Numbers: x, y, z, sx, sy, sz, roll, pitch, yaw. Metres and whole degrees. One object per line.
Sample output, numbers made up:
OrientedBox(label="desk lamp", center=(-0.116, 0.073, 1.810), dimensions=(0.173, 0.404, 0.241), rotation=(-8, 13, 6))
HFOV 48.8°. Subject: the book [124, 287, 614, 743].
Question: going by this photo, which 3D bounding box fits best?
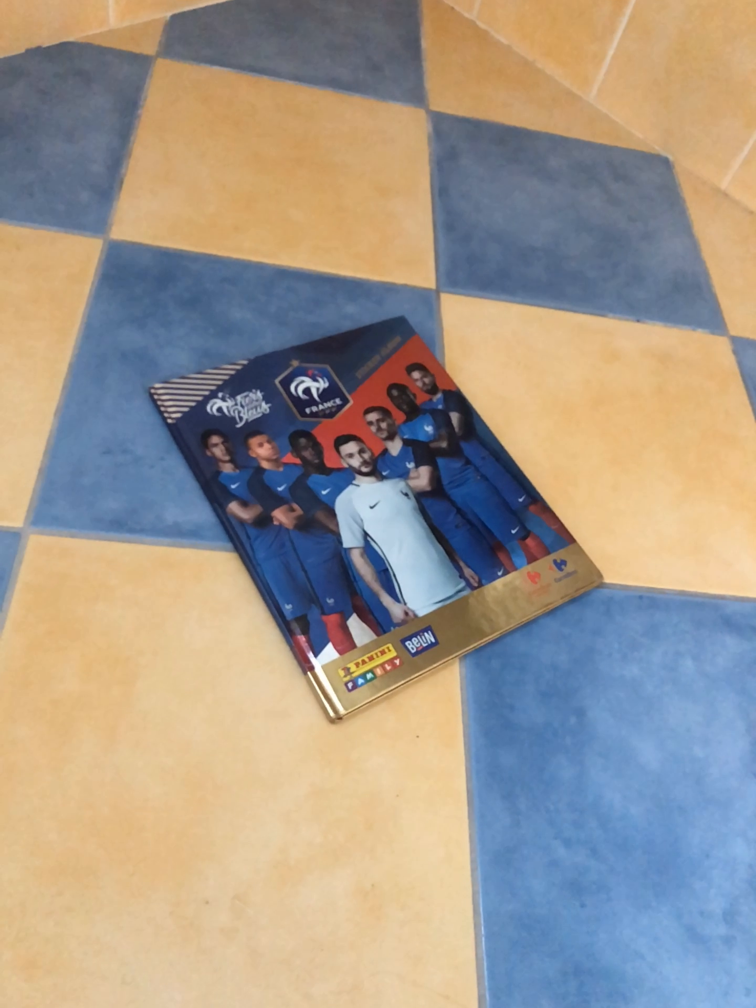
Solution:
OrientedBox(label="book", center=(-0.013, -0.020, 0.632), dimensions=(0.241, 0.030, 0.320), rotation=(-22, 64, -26))
